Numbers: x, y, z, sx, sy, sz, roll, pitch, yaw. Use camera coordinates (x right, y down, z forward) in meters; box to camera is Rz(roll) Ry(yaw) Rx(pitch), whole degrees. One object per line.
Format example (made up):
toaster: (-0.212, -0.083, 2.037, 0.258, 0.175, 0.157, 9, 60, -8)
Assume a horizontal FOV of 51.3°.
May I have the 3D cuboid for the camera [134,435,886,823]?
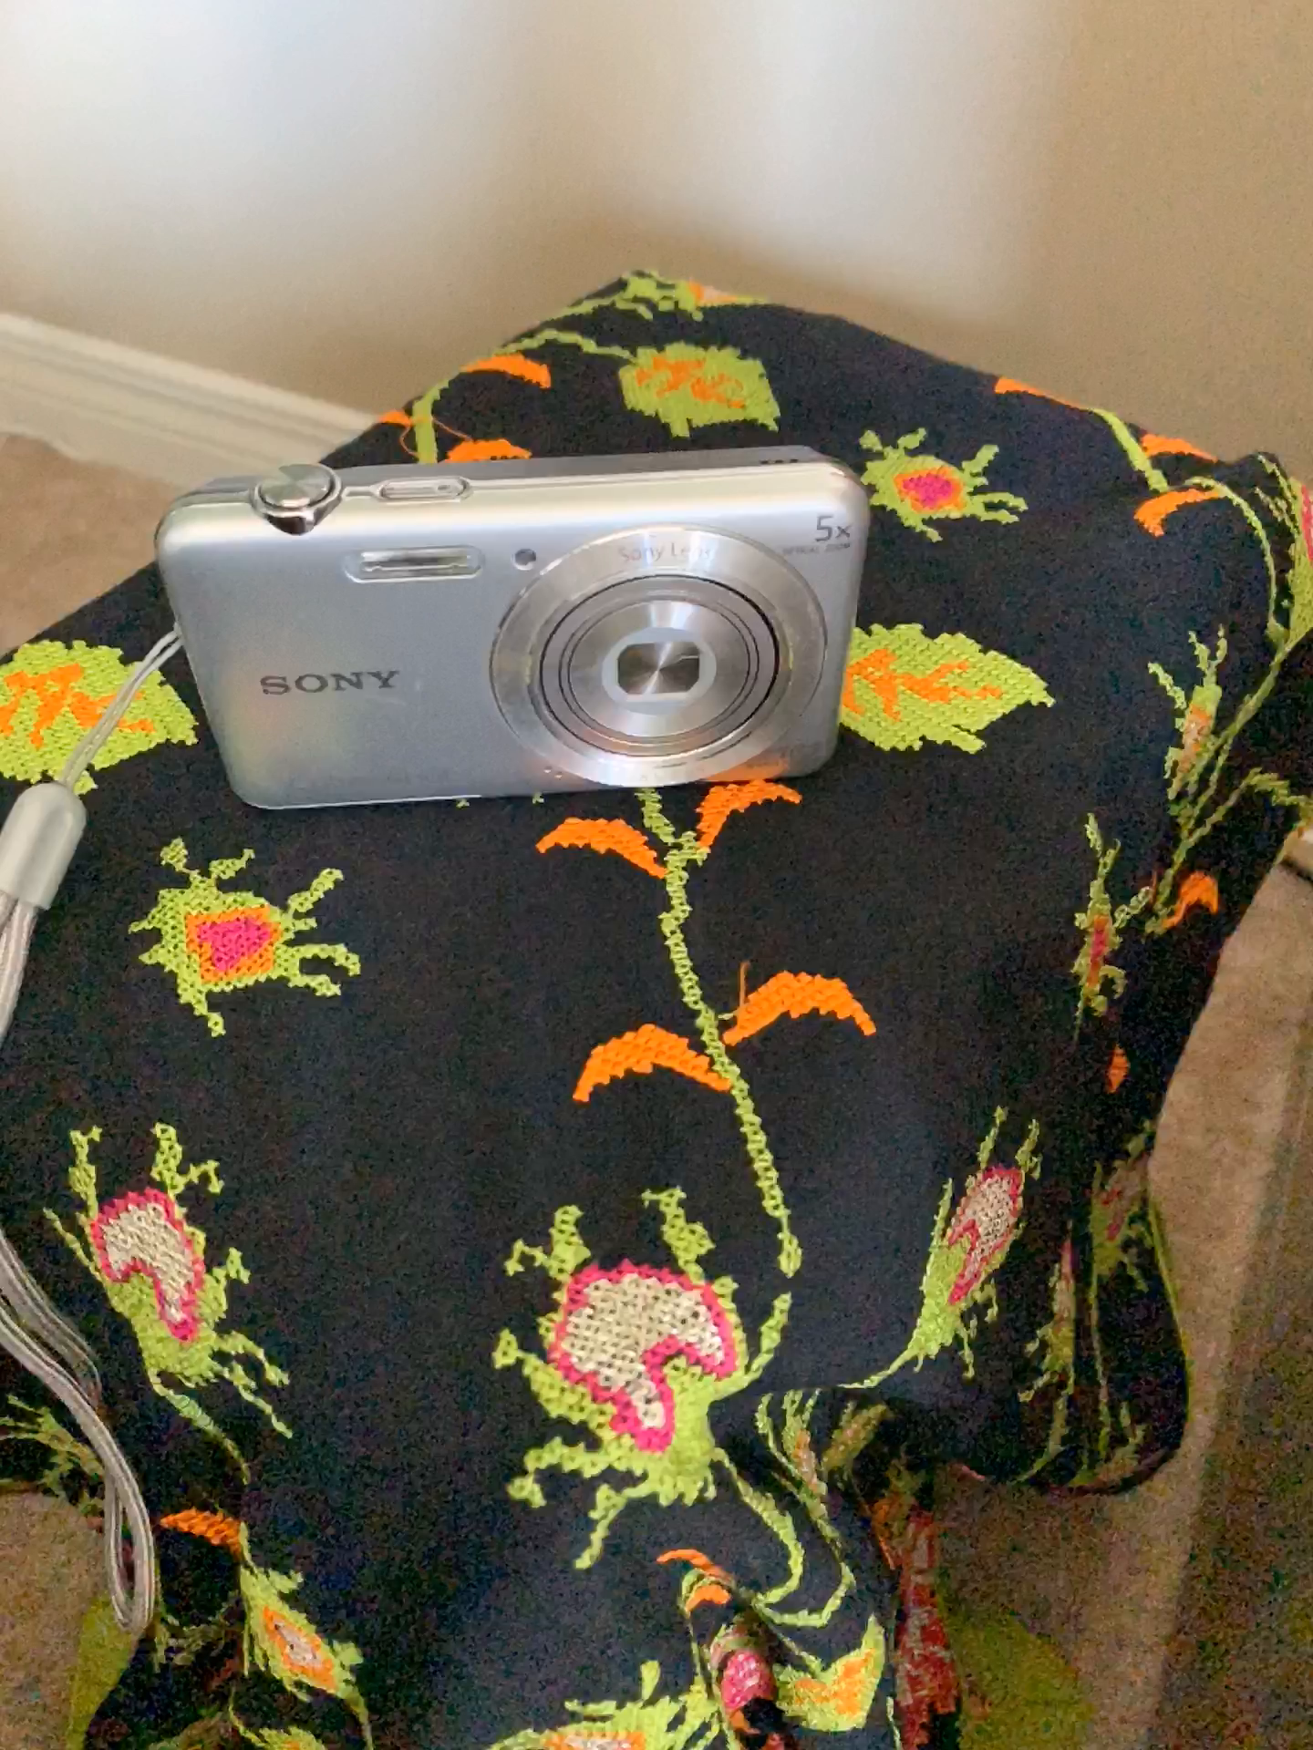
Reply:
camera: (-0.017, -0.031, 0.179, 0.086, 0.042, 0.020, -4, 48, -4)
